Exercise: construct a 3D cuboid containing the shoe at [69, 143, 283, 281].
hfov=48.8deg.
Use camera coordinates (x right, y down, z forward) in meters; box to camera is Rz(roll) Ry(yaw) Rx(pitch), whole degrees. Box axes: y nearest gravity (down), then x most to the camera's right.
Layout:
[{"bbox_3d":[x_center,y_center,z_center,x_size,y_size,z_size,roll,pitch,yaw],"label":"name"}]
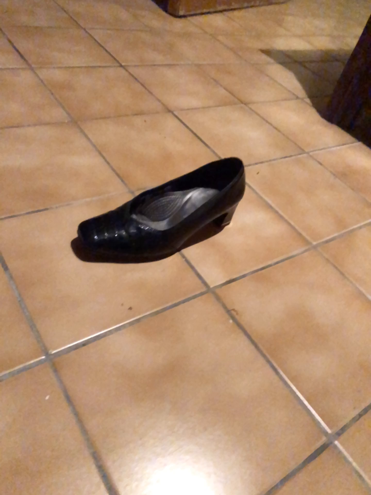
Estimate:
[{"bbox_3d":[-0.010,-0.057,0.532,0.251,0.089,0.100,-16,52,-32],"label":"shoe"}]
